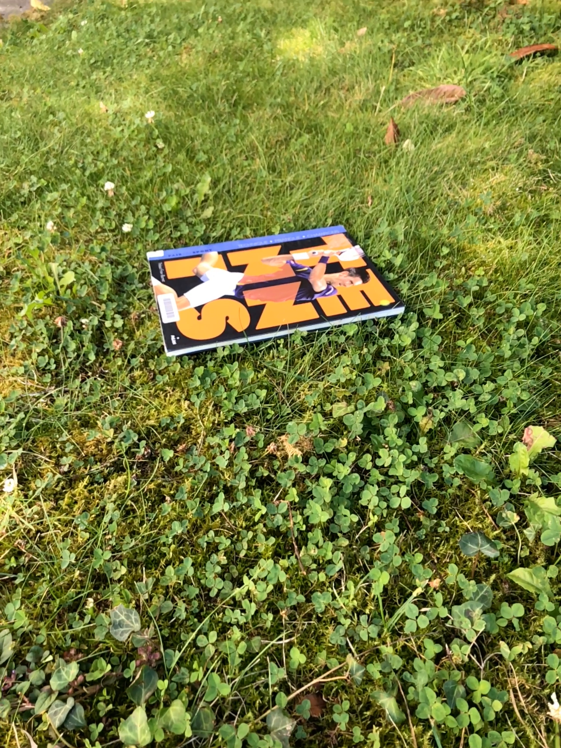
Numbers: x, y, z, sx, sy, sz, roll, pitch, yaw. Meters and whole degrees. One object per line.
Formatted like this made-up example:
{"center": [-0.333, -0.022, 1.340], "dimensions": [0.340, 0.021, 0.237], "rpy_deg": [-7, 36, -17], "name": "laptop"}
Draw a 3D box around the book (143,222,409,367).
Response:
{"center": [-0.015, -0.096, 0.661], "dimensions": [0.240, 0.016, 0.199], "rpy_deg": [-10, 41, -11], "name": "book"}
